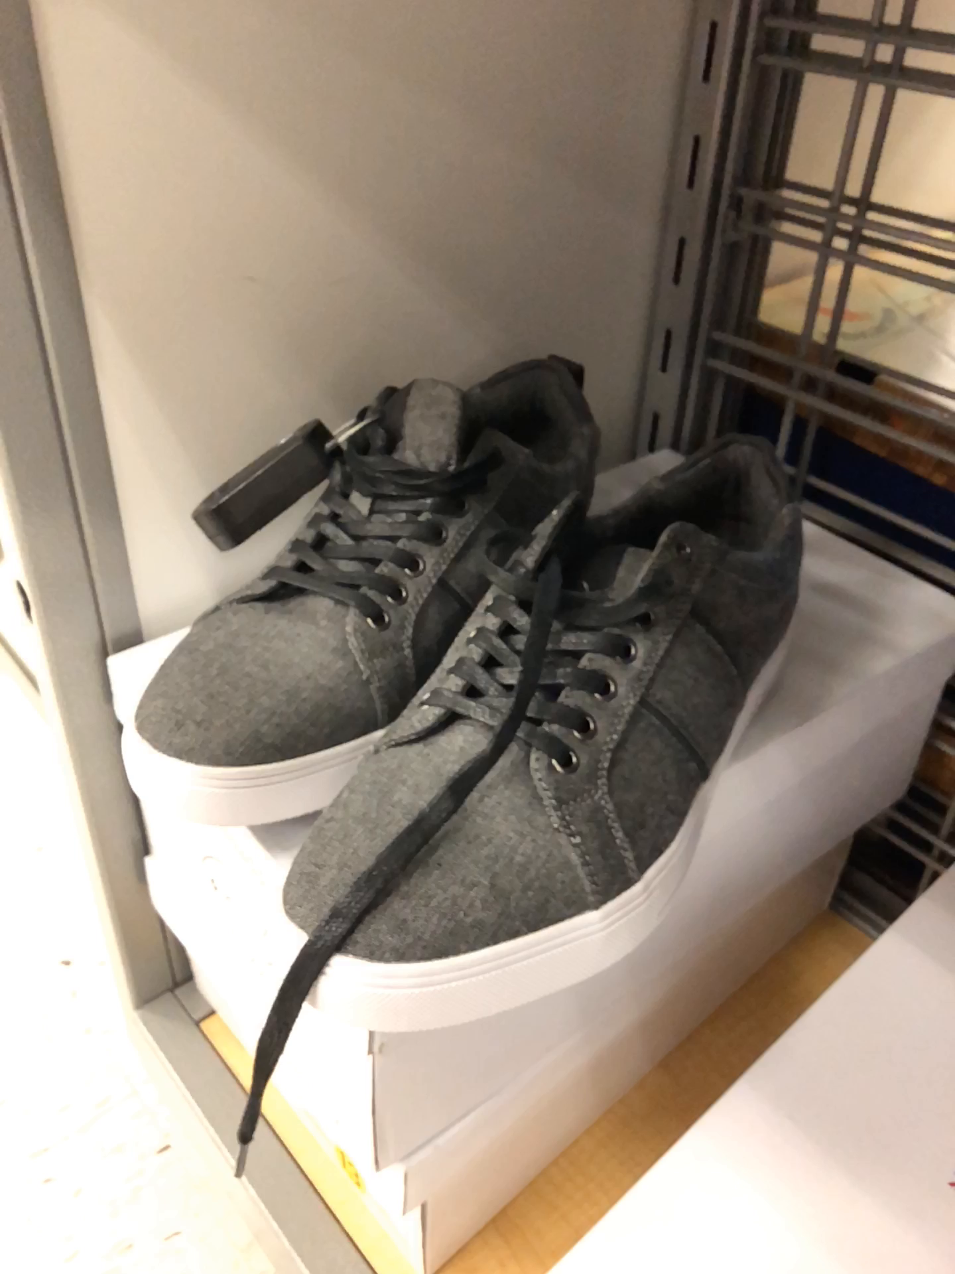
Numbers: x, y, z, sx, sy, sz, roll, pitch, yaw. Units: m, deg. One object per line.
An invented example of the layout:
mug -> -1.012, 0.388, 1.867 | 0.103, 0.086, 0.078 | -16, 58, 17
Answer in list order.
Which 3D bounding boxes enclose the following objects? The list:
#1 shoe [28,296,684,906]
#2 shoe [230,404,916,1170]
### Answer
shoe -> -0.026, -0.037, 0.423 | 0.110, 0.106, 0.255 | 21, 40, 24
shoe -> 0.049, 0.024, 0.366 | 0.100, 0.106, 0.254 | 24, 41, 27
